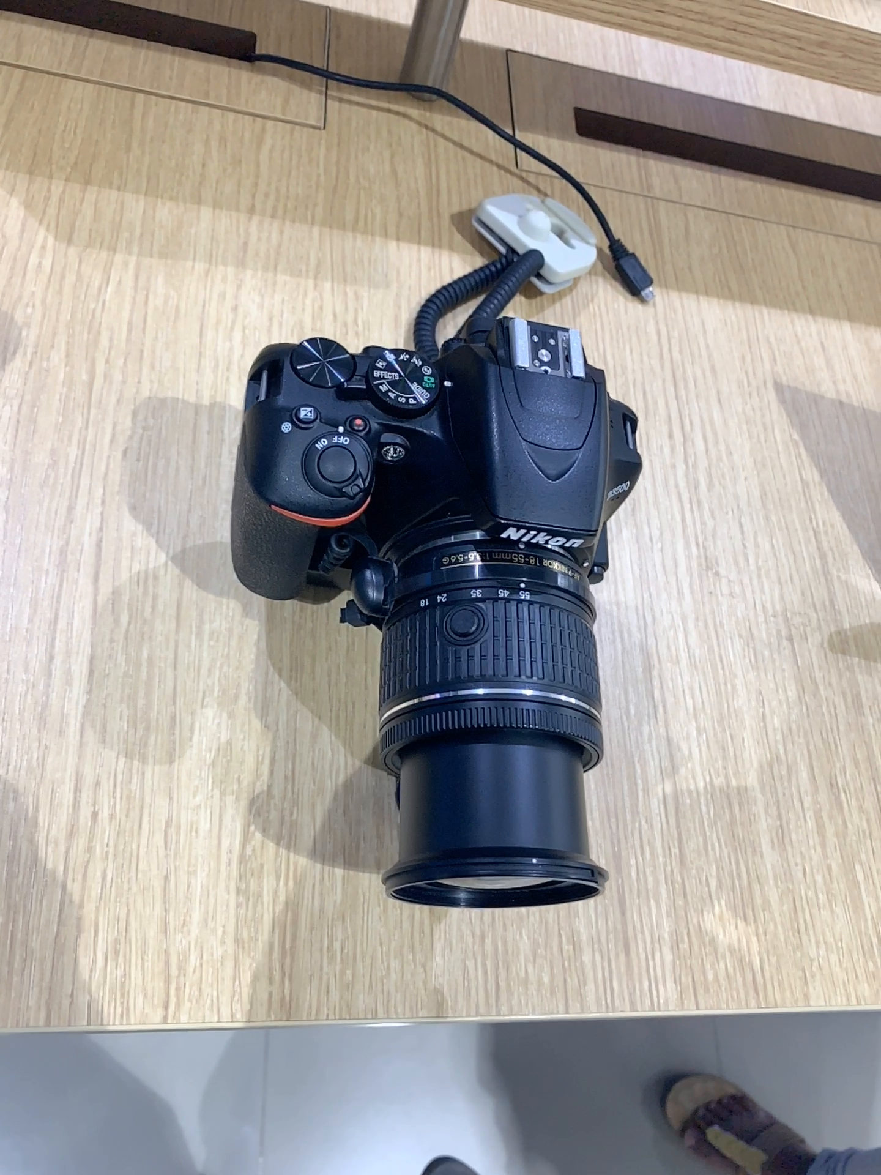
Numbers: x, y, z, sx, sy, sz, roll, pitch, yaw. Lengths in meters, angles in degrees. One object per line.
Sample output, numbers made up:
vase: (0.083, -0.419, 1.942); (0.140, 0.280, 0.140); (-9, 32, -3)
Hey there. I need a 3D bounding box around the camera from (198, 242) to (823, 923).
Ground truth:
camera: (0.003, 0.009, 0.234); (0.115, 0.100, 0.136); (4, 64, -14)
